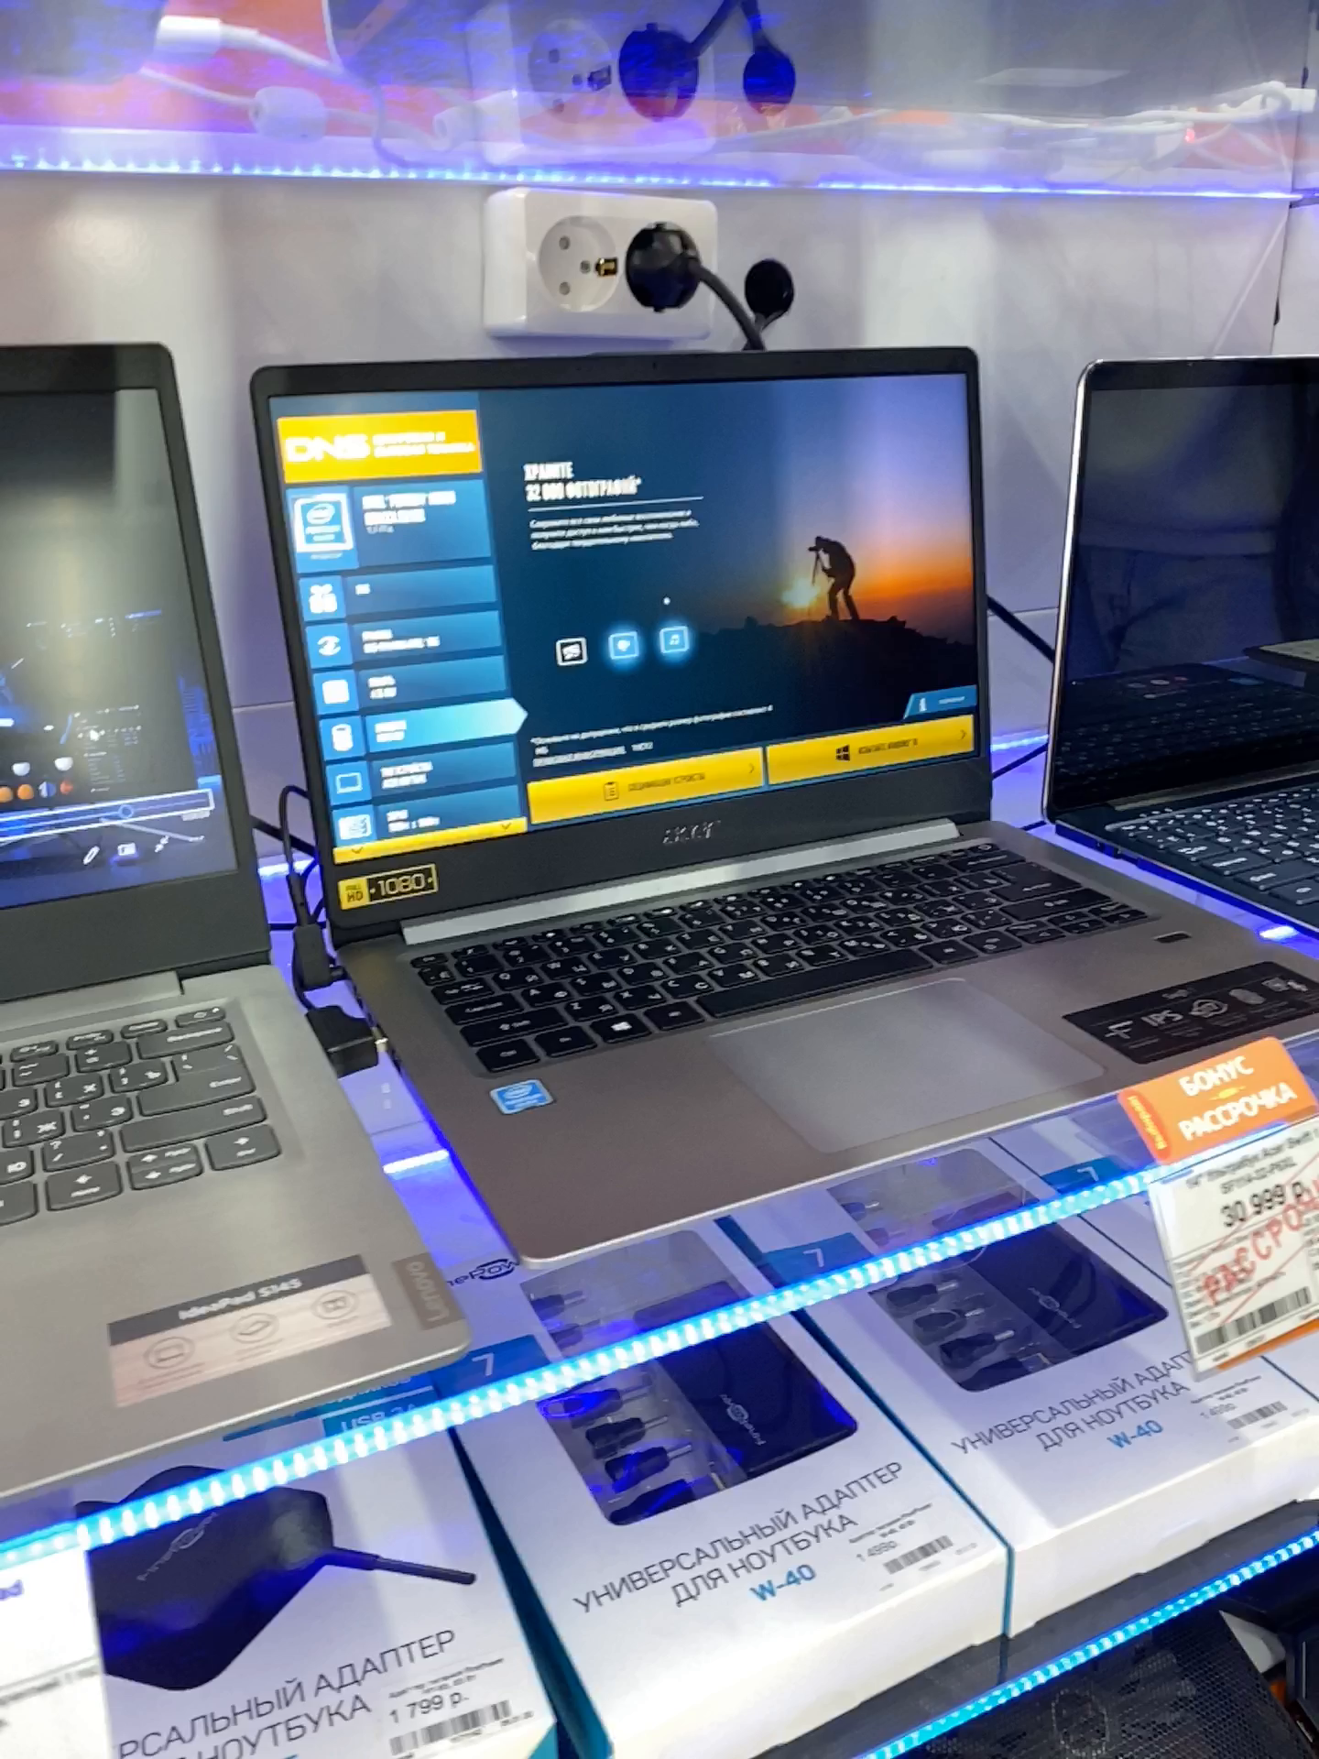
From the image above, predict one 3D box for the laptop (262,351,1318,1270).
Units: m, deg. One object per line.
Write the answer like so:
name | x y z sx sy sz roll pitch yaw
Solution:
laptop | 0.057 -0.070 0.472 0.319 0.206 0.258 -11 23 -23
